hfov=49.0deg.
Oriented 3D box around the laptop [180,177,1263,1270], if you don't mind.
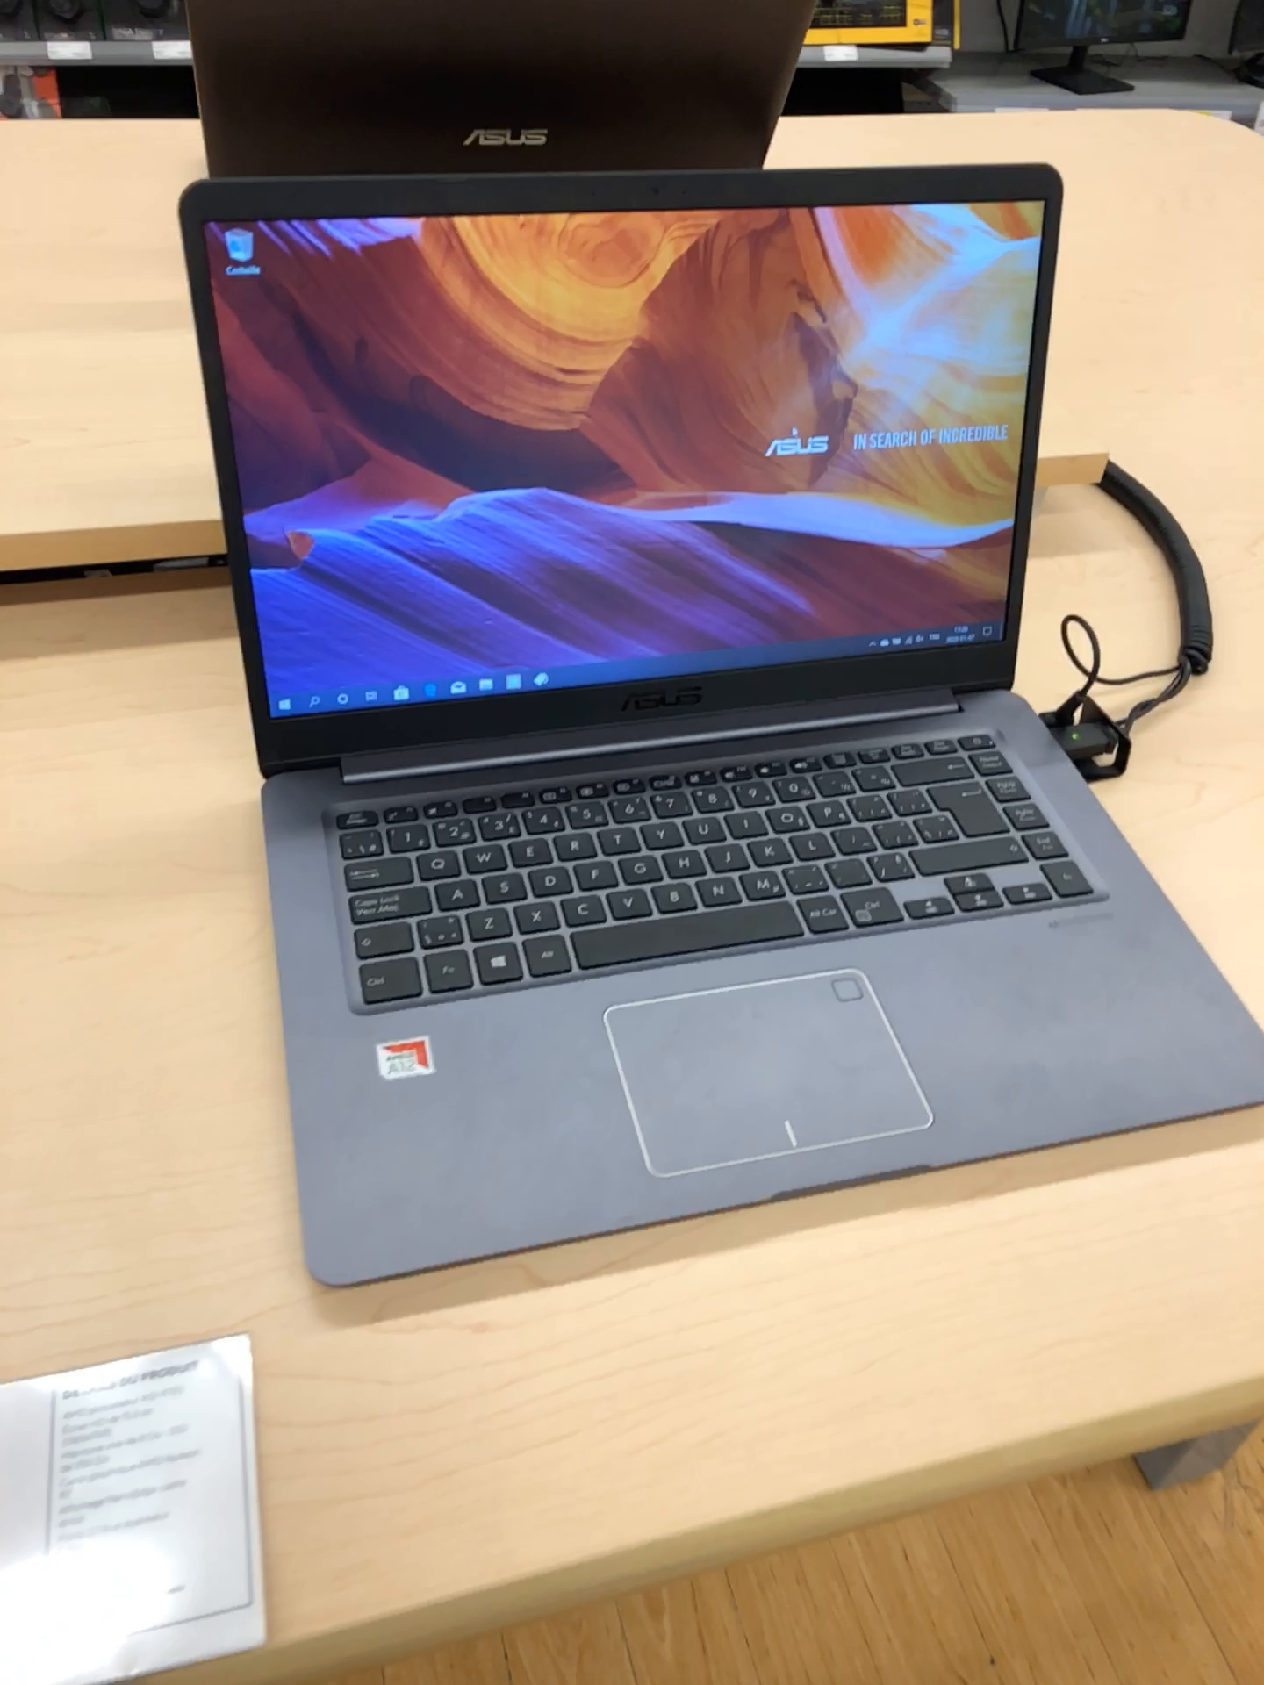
[{"bbox_3d":[0.041,-0.074,0.519,0.361,0.223,0.318,-8,45,-14],"label":"laptop"}]
